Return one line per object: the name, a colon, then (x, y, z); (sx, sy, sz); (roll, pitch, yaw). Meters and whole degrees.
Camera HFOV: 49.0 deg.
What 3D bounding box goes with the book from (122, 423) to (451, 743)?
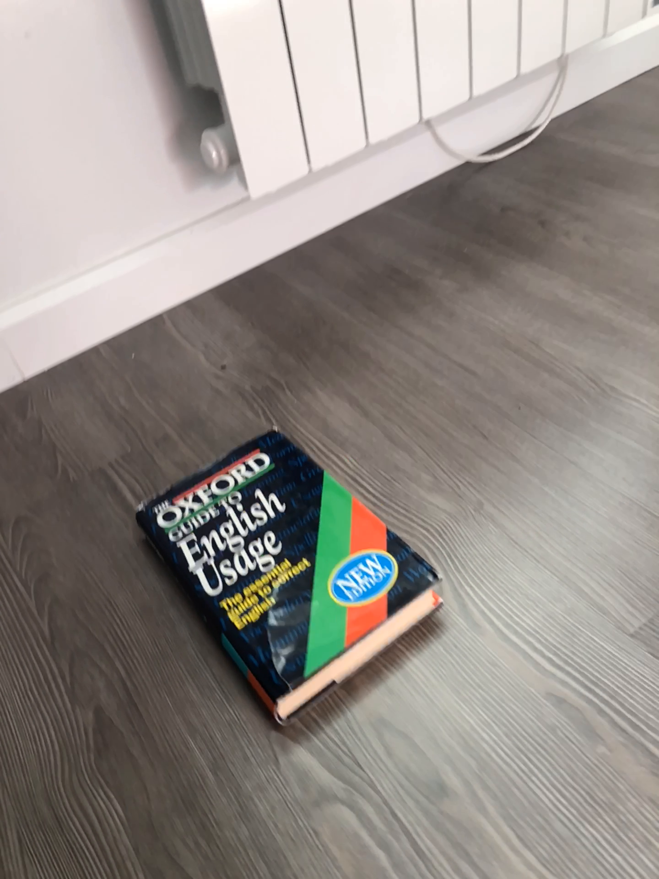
book: (-0.042, 0.090, 0.556); (0.150, 0.035, 0.230); (-31, 45, -20)
